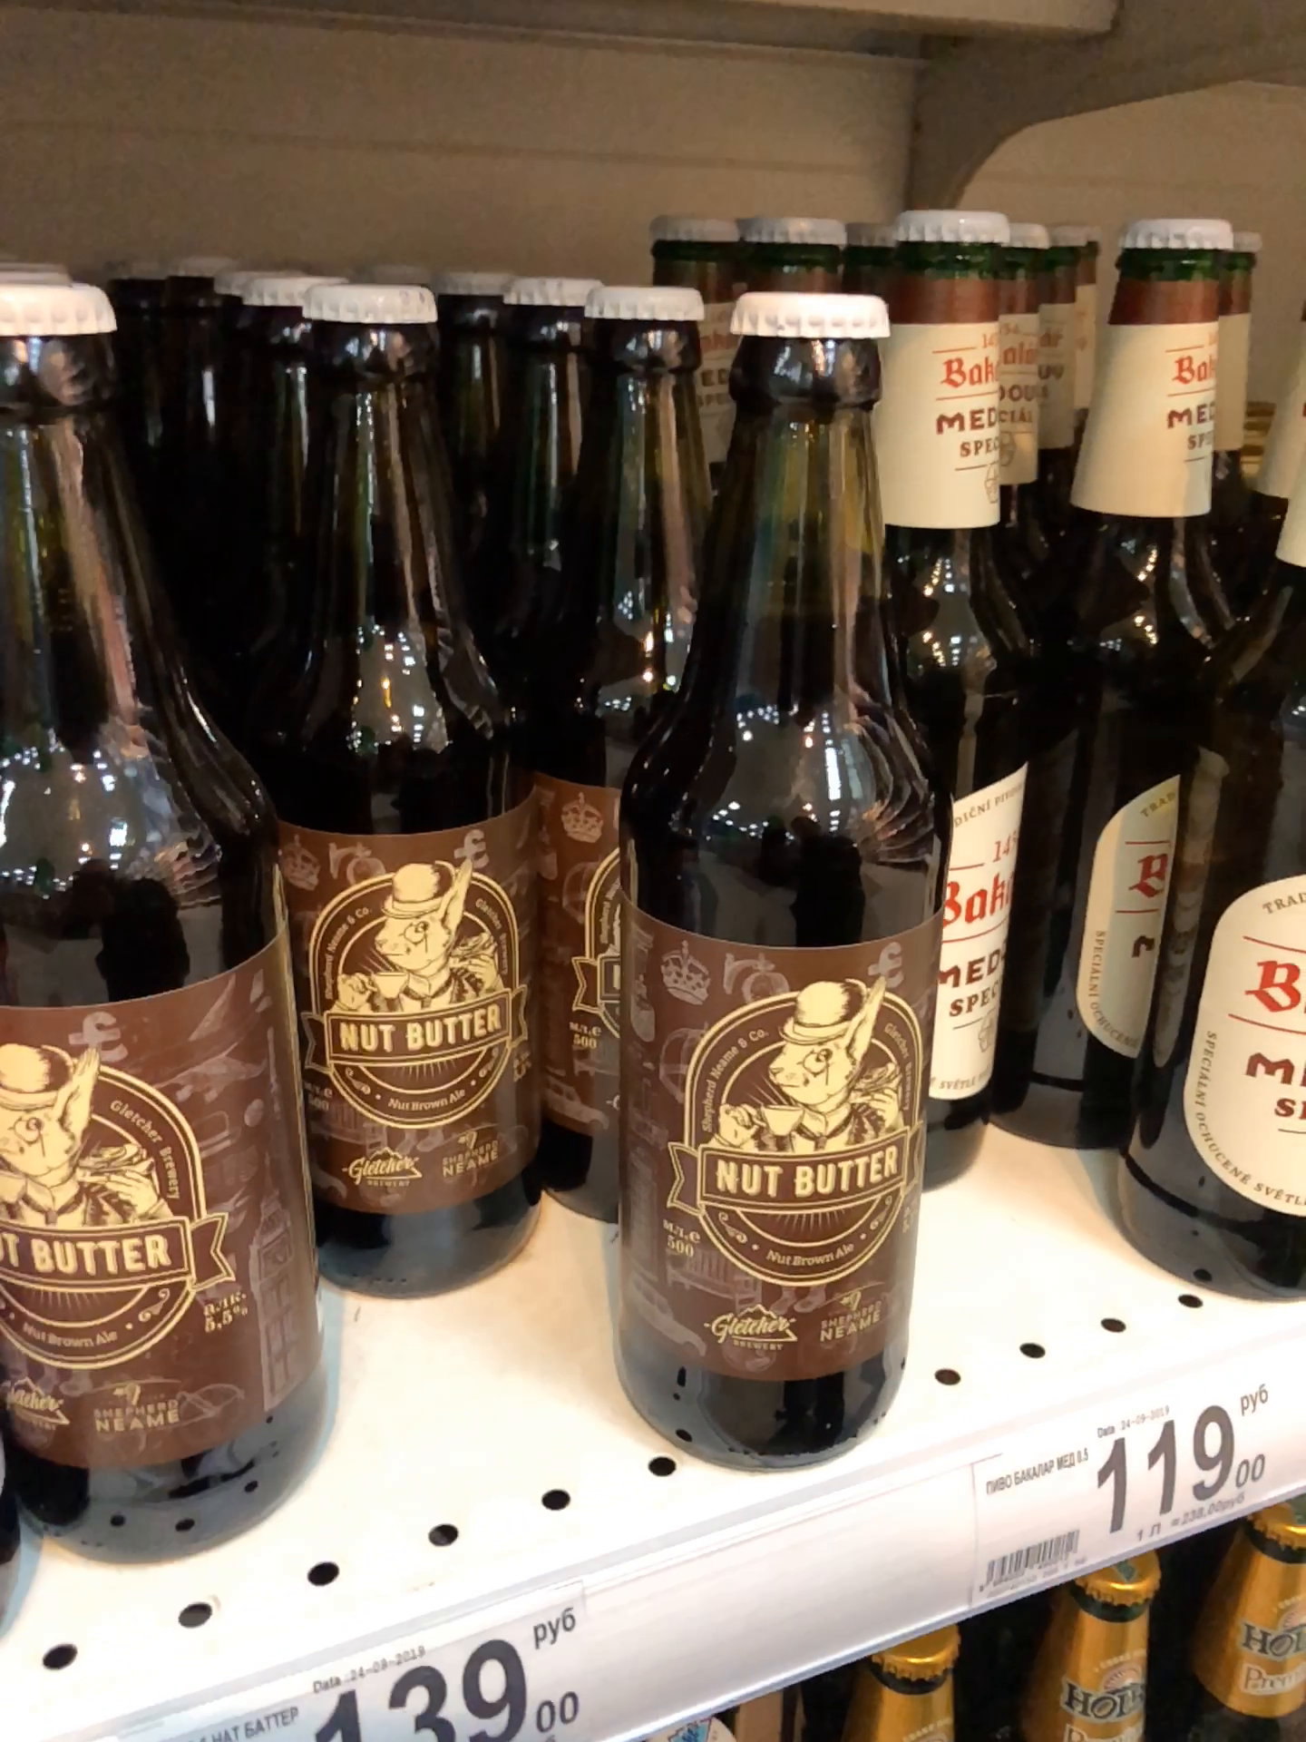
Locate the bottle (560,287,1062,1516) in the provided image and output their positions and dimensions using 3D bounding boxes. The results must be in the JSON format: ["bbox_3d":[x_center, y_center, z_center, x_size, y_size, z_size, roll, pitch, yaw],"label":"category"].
[{"bbox_3d":[0.023,0.010,0.297,0.070,0.240,0.060,-5,23,-15],"label":"bottle"}]
